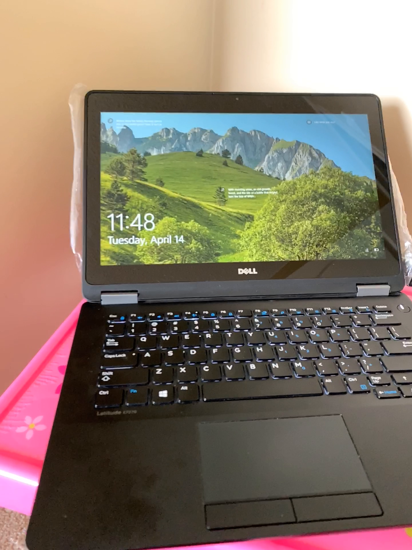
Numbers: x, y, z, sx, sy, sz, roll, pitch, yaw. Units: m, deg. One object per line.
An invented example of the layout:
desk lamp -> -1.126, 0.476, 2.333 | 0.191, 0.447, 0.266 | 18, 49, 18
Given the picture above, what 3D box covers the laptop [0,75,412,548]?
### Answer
laptop -> 0.036, -0.026, 0.287 | 0.261, 0.121, 0.303 | -2, 38, -7
